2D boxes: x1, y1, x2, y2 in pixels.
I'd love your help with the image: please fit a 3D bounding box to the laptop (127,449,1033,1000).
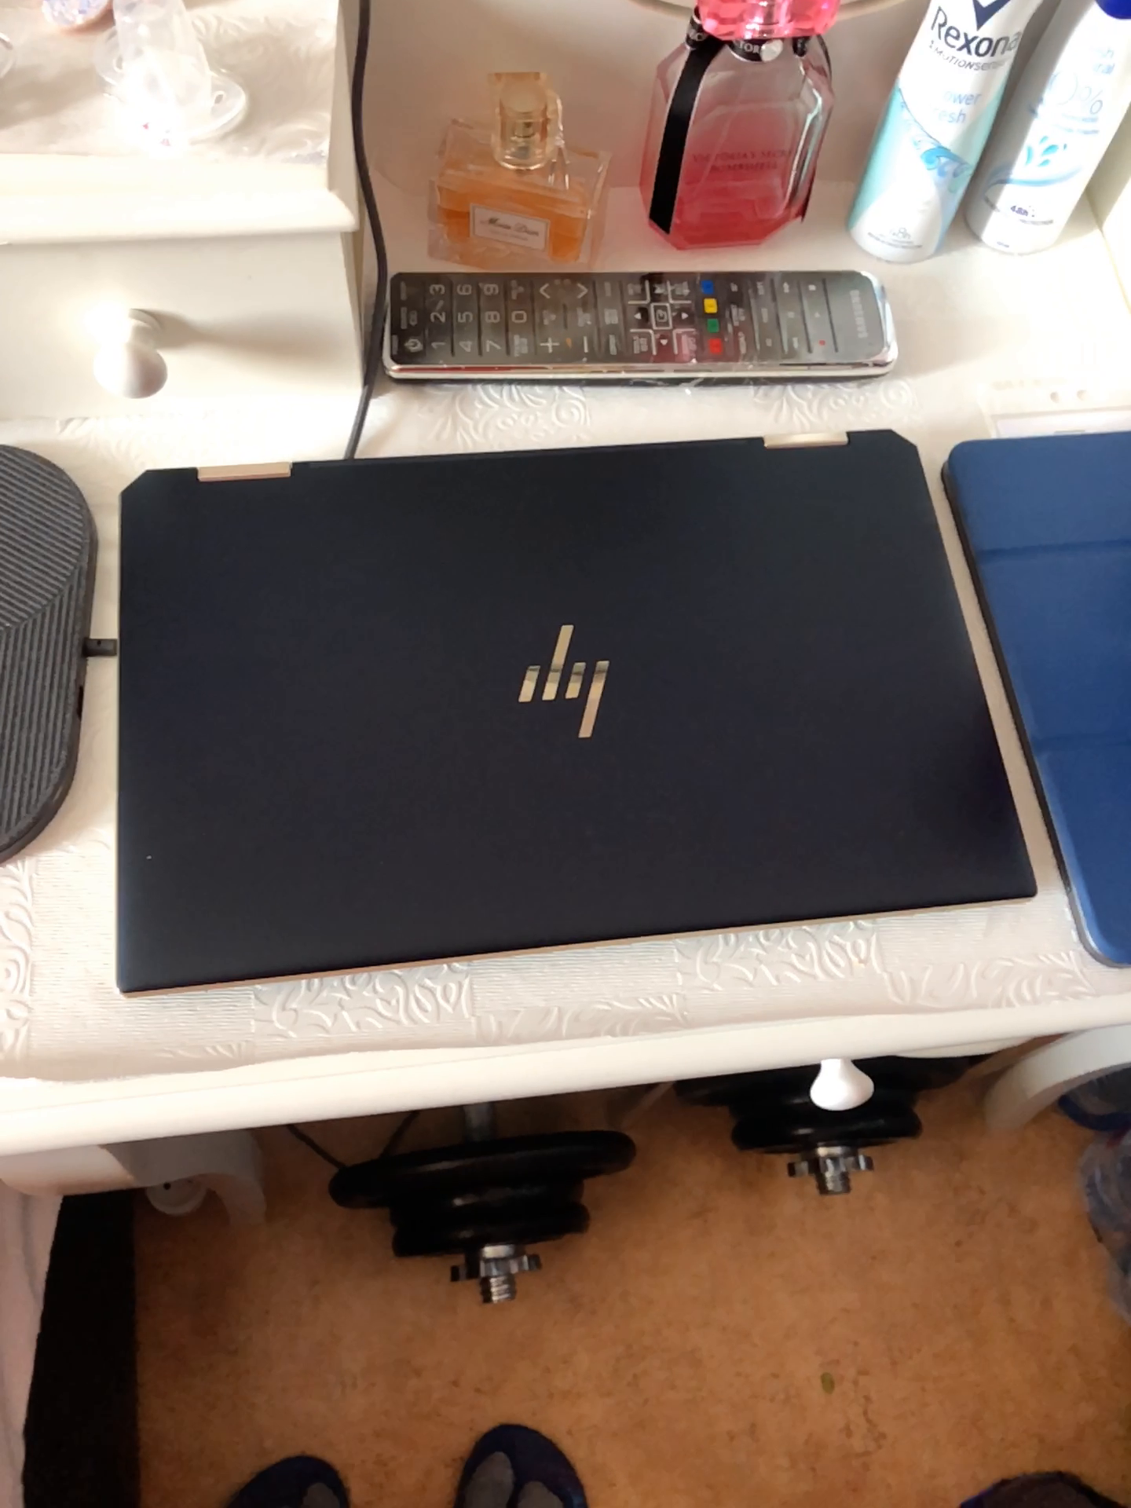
[{"bbox_3d":[0.006,-0.021,0.390,0.267,0.007,0.160,-4,71,-13],"label":"laptop"}]
